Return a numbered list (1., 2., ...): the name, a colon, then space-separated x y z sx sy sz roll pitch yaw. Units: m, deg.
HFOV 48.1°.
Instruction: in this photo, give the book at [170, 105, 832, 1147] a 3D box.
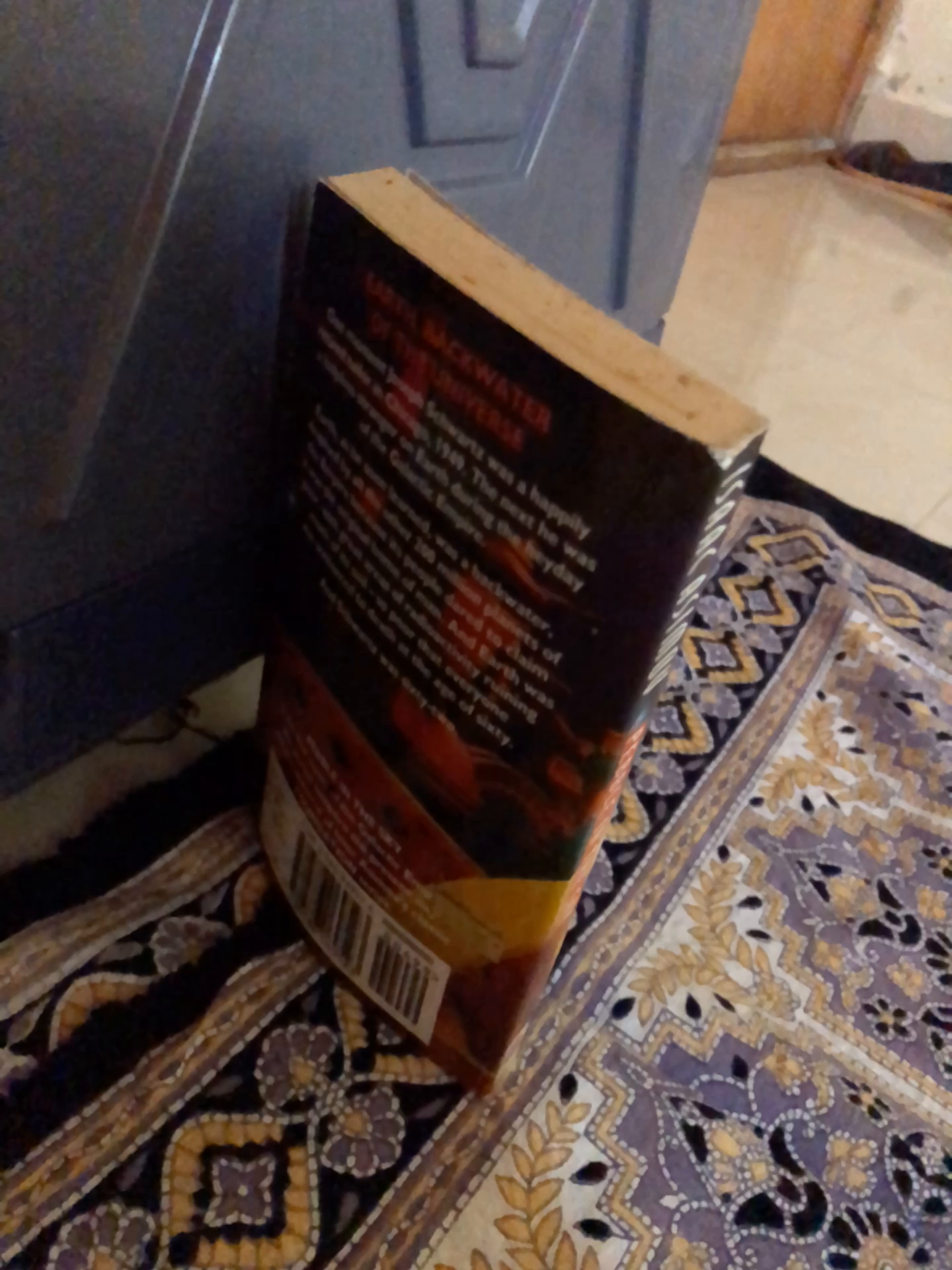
1. book: -0.021 0.000 0.247 0.030 0.189 0.150 -19 46 -36
